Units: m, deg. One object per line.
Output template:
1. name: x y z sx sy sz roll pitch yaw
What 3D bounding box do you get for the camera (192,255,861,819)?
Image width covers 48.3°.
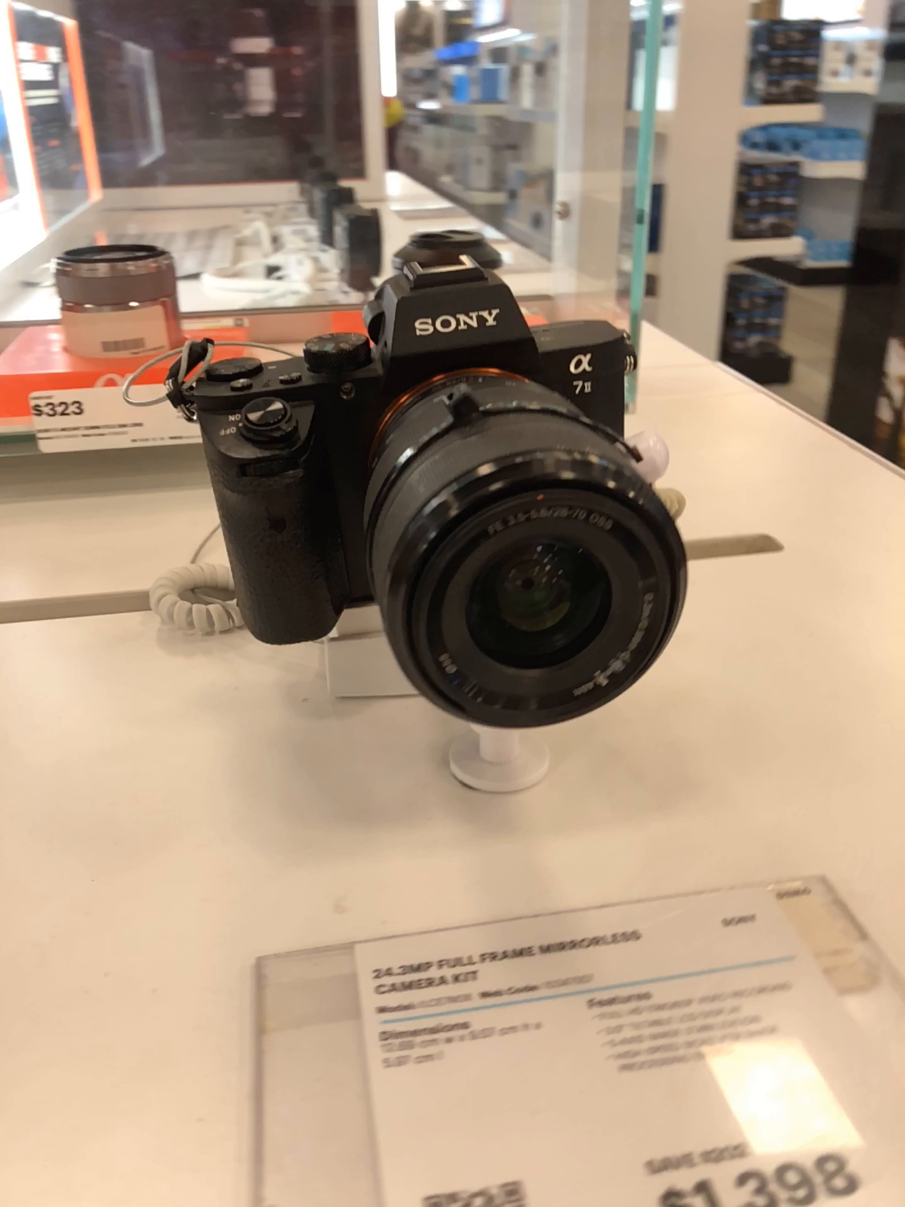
1. camera: 0.004 -0.035 0.291 0.140 0.100 0.151 -7 27 -11
